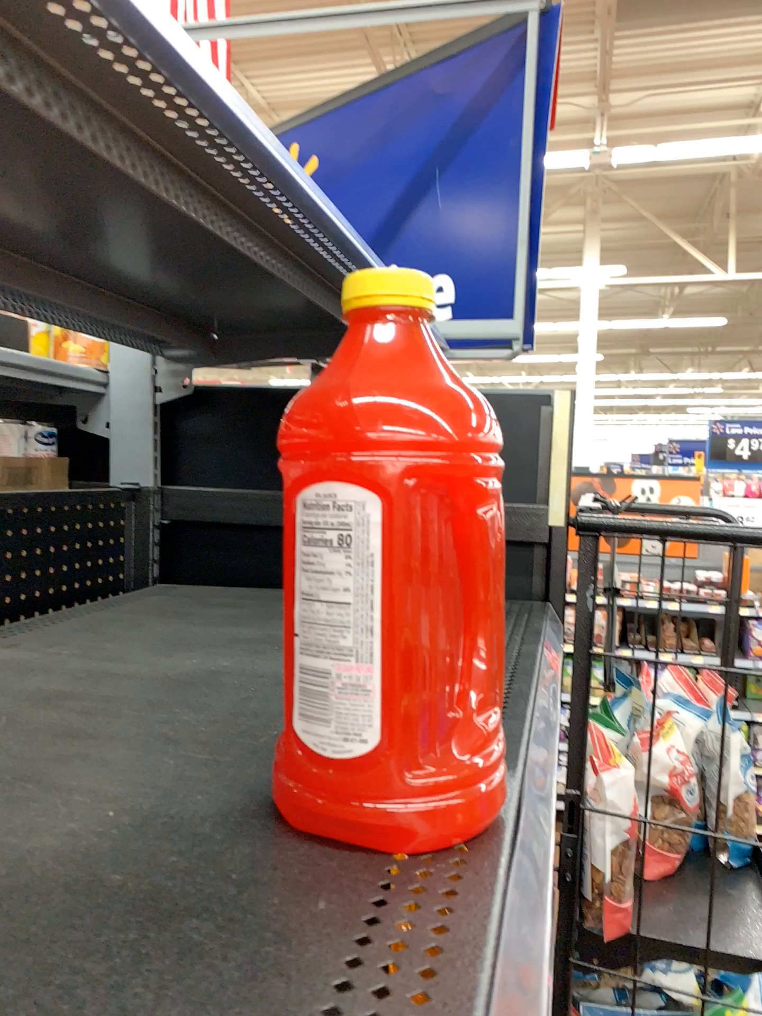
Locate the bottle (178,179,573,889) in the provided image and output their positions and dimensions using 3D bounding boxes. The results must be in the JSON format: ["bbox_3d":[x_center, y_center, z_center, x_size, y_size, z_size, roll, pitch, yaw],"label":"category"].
[{"bbox_3d":[0.001,0.006,0.377,0.140,0.265,0.122,3,3,28],"label":"bottle"}]
